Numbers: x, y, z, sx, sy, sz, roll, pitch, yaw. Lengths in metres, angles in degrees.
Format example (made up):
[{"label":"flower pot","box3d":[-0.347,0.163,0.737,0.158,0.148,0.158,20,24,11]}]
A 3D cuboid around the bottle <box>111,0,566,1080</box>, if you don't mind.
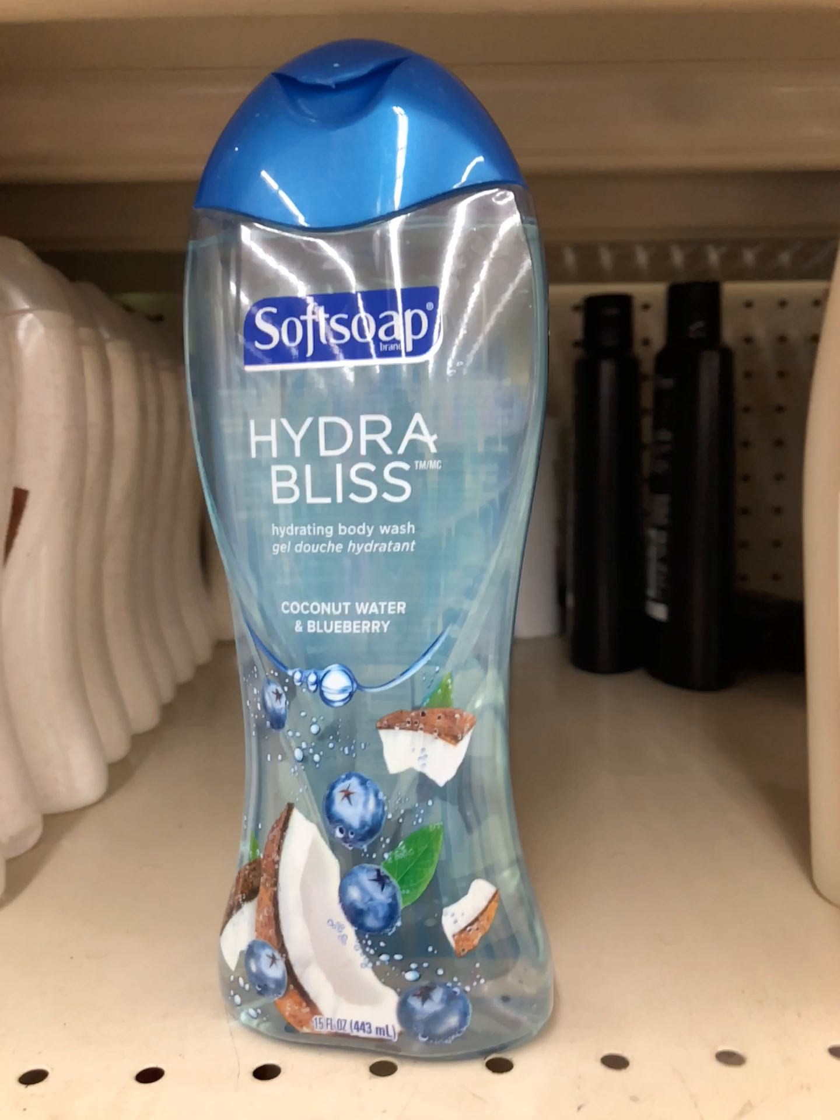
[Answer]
[{"label":"bottle","box3d":[-0.010,-0.005,0.204,0.080,0.211,0.051,1,9,11]}]
